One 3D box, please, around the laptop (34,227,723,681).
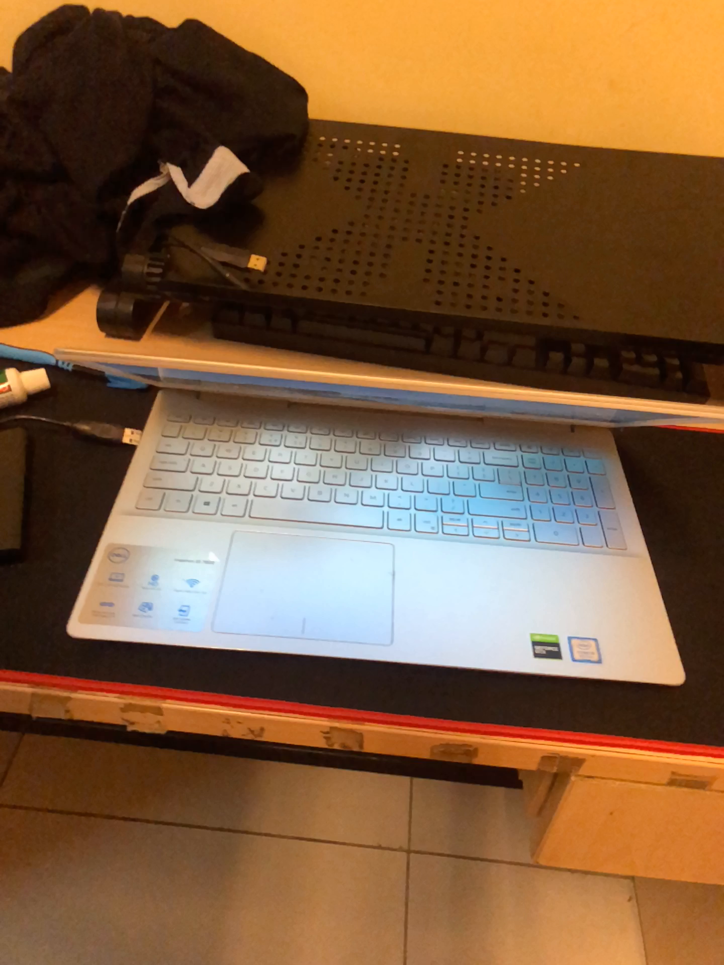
[{"bbox_3d":[0.023,-0.027,0.494,0.351,0.139,0.219,4,44,0],"label":"laptop"}]
